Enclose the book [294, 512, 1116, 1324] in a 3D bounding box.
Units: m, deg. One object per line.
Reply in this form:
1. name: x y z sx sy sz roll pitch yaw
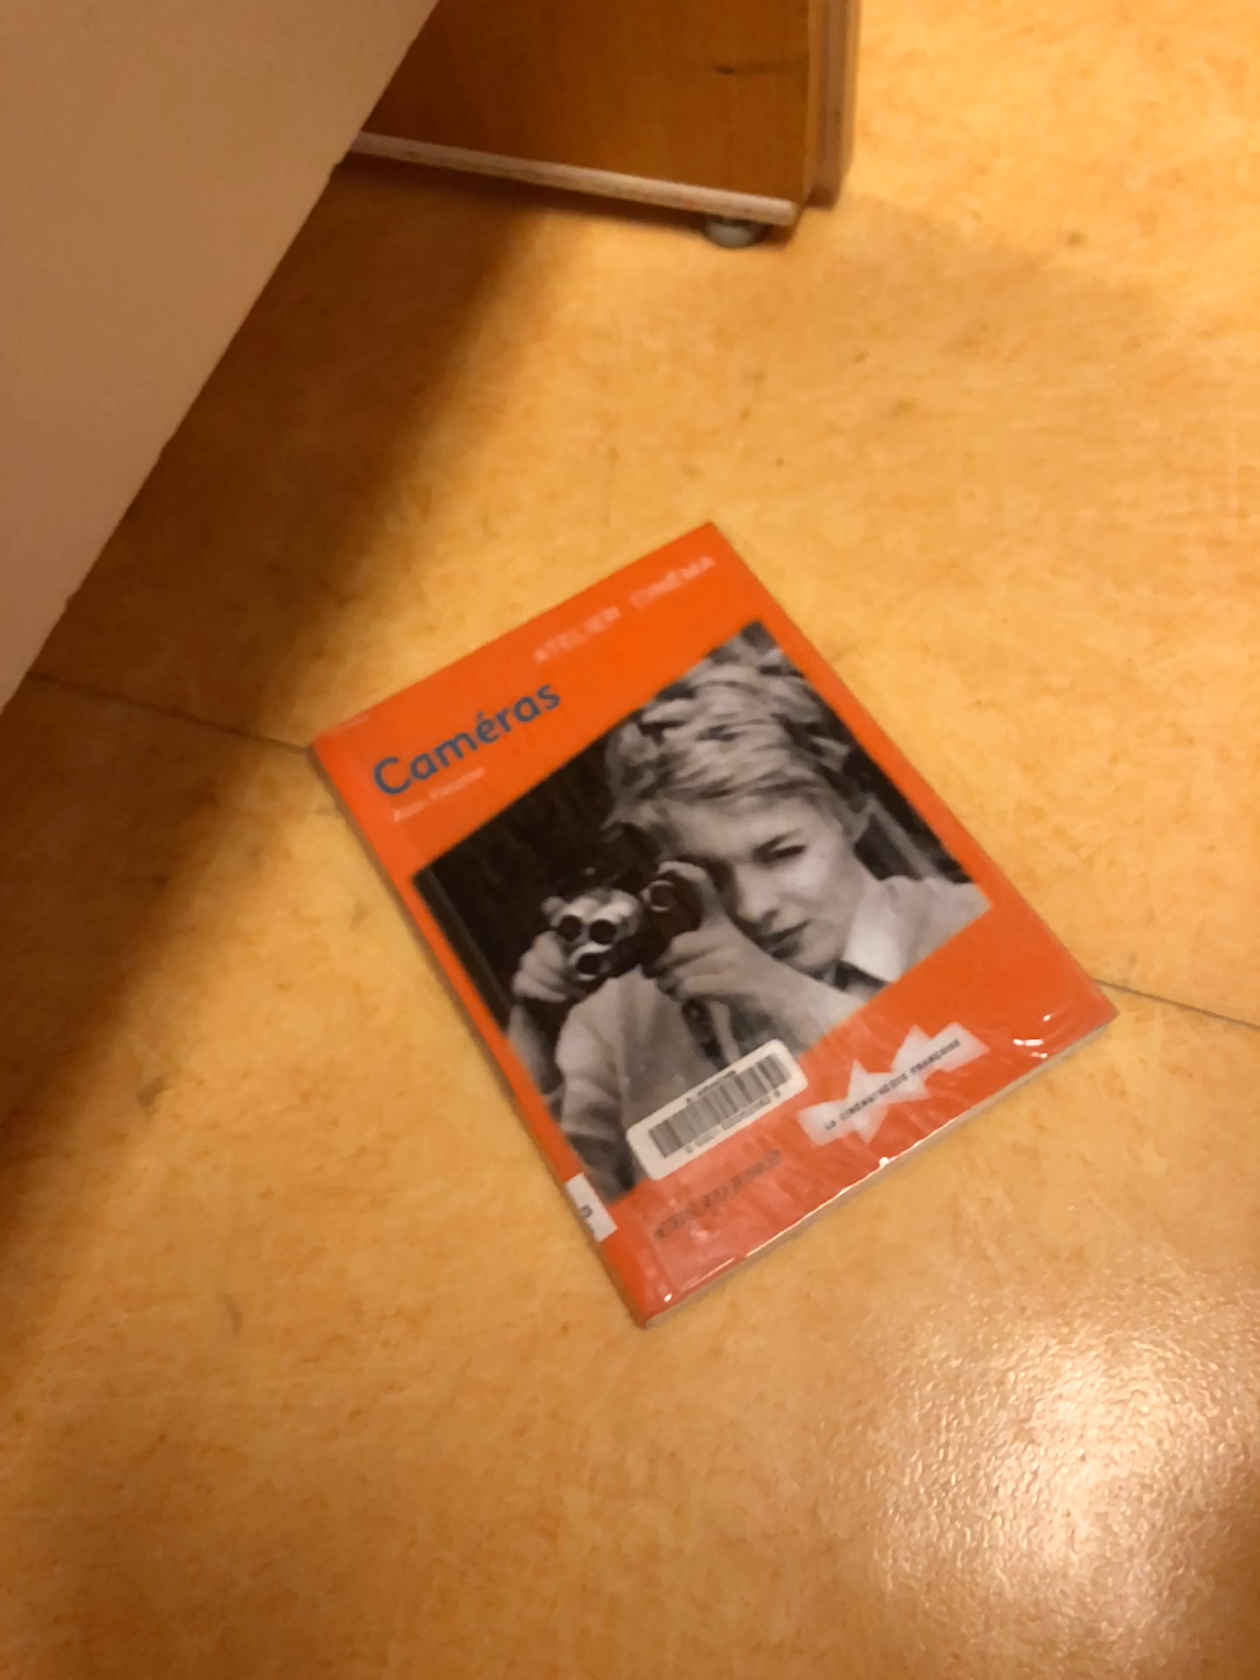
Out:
1. book: 0.013 0.008 0.413 0.155 0.011 0.206 -30 63 -9
